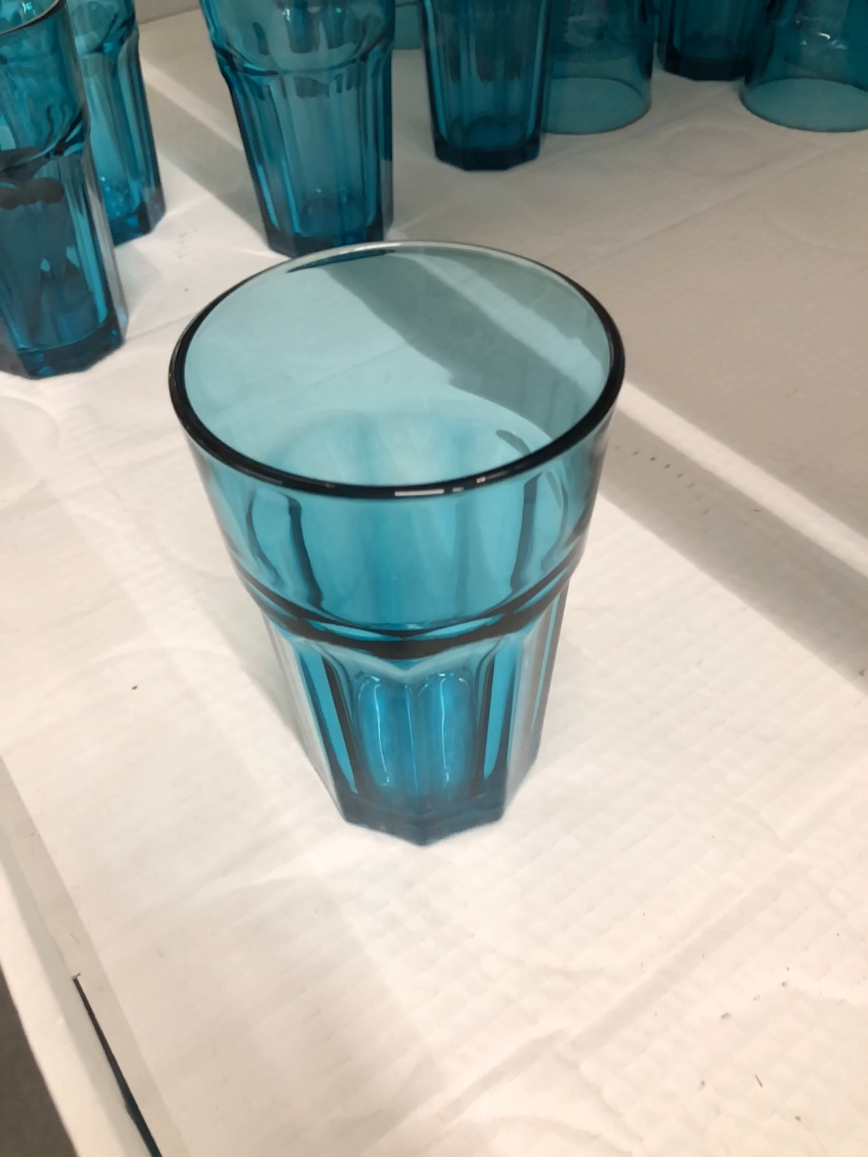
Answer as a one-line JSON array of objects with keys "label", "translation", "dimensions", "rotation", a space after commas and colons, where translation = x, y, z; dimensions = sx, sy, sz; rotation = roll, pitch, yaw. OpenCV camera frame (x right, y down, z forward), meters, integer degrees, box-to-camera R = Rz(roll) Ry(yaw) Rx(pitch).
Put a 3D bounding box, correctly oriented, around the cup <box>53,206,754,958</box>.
[{"label": "cup", "translation": [-0.008, 0.000, 0.205], "dimensions": [0.092, 0.102, 0.090], "rotation": [-2, 49, 2]}]
